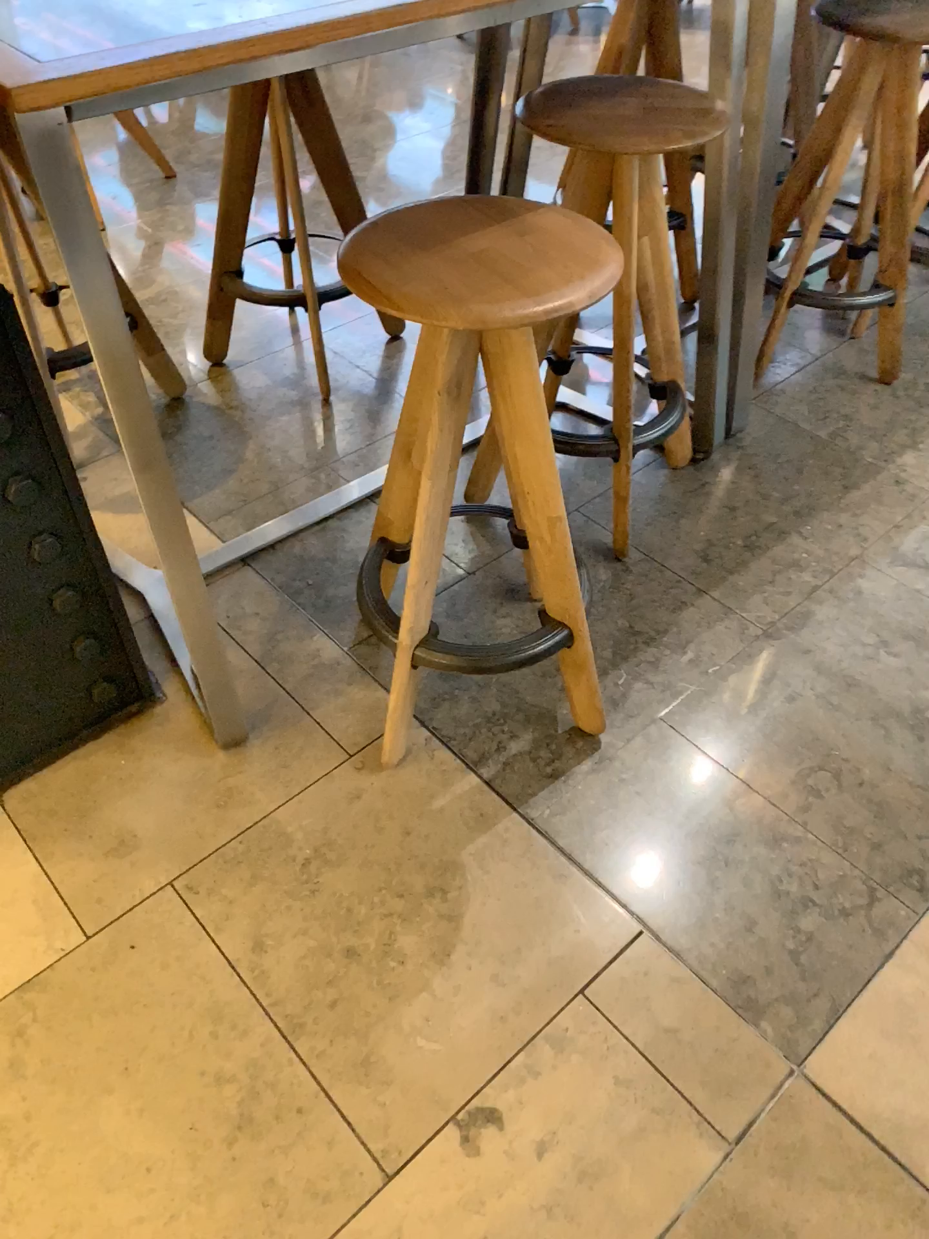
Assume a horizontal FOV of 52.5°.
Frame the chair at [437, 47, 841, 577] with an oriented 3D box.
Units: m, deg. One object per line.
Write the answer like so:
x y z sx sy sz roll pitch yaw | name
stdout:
0.269 -0.550 1.714 0.465 0.706 0.425 -33 54 -28 | chair

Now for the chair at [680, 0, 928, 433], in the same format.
0.845 -0.885 2.040 0.475 0.706 0.435 -33 54 -28 | chair

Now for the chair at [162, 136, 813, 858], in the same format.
0.020 -0.185 1.360 0.535 0.706 0.556 -33 54 -28 | chair
